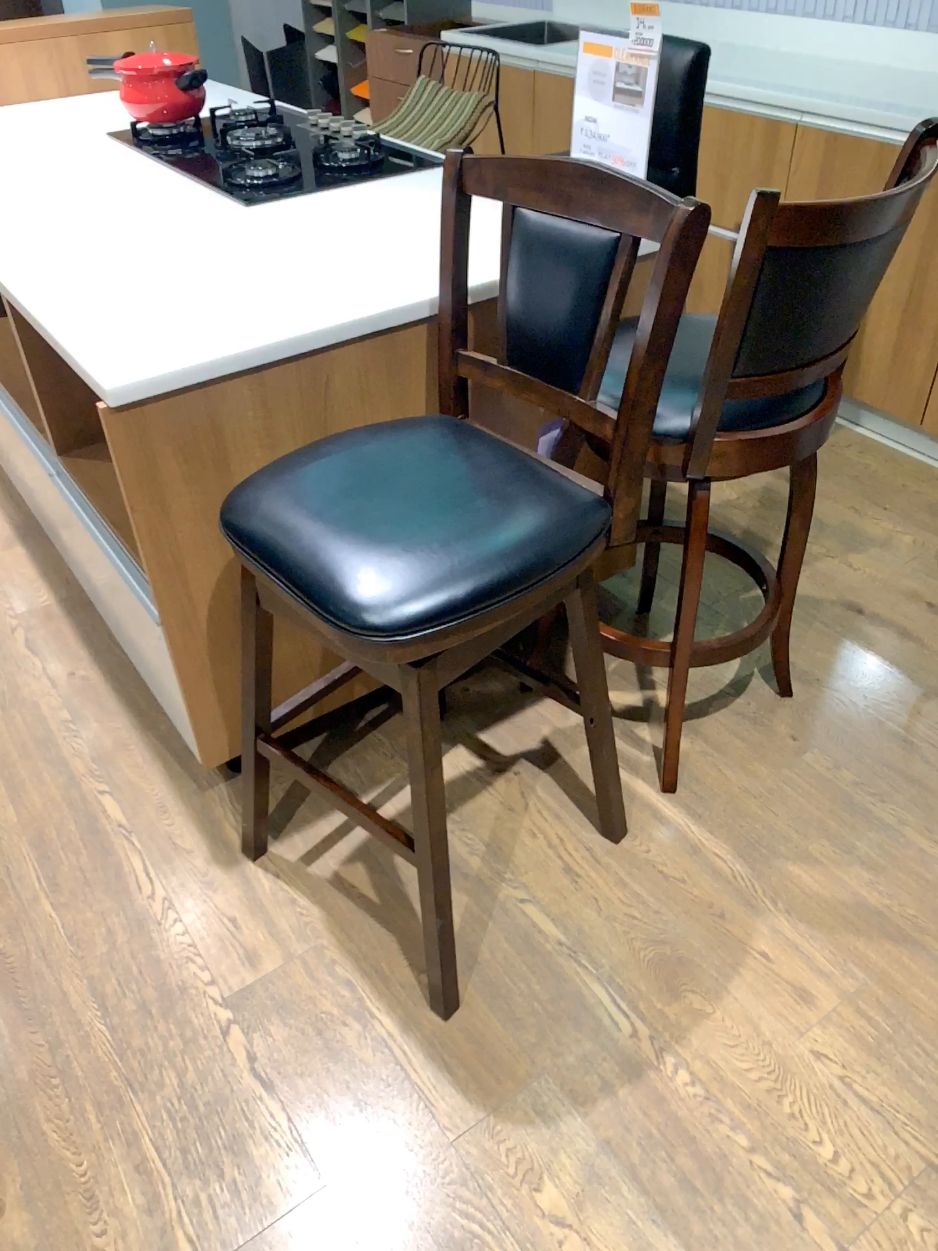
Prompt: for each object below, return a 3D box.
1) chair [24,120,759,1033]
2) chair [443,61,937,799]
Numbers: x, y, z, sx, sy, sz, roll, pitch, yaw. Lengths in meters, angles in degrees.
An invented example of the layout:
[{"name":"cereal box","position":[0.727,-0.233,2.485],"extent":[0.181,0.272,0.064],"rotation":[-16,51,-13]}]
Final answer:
[{"name":"chair","position":[-0.070,-0.072,1.377],"extent":[0.582,1.025,0.571],"rotation":[28,47,33]},{"name":"chair","position":[0.368,-0.342,1.690],"extent":[0.551,1.025,0.572],"rotation":[-27,45,-29]}]
